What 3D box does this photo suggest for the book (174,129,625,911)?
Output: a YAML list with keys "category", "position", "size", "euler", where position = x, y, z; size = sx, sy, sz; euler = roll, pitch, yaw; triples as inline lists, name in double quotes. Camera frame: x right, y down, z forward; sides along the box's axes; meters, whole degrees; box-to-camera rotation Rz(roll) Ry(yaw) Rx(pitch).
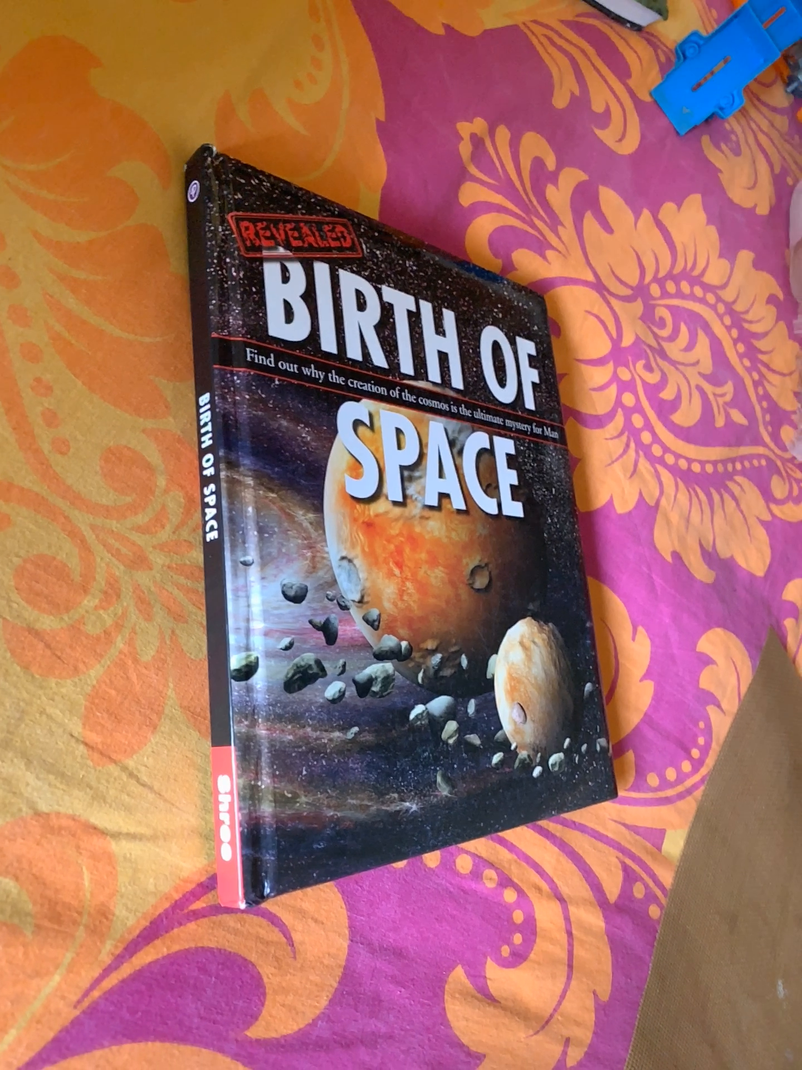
- category: "book"
  position: [0.011, -0.007, 0.346]
  size: [0.212, 0.020, 0.258]
  euler: [5, 75, -44]
